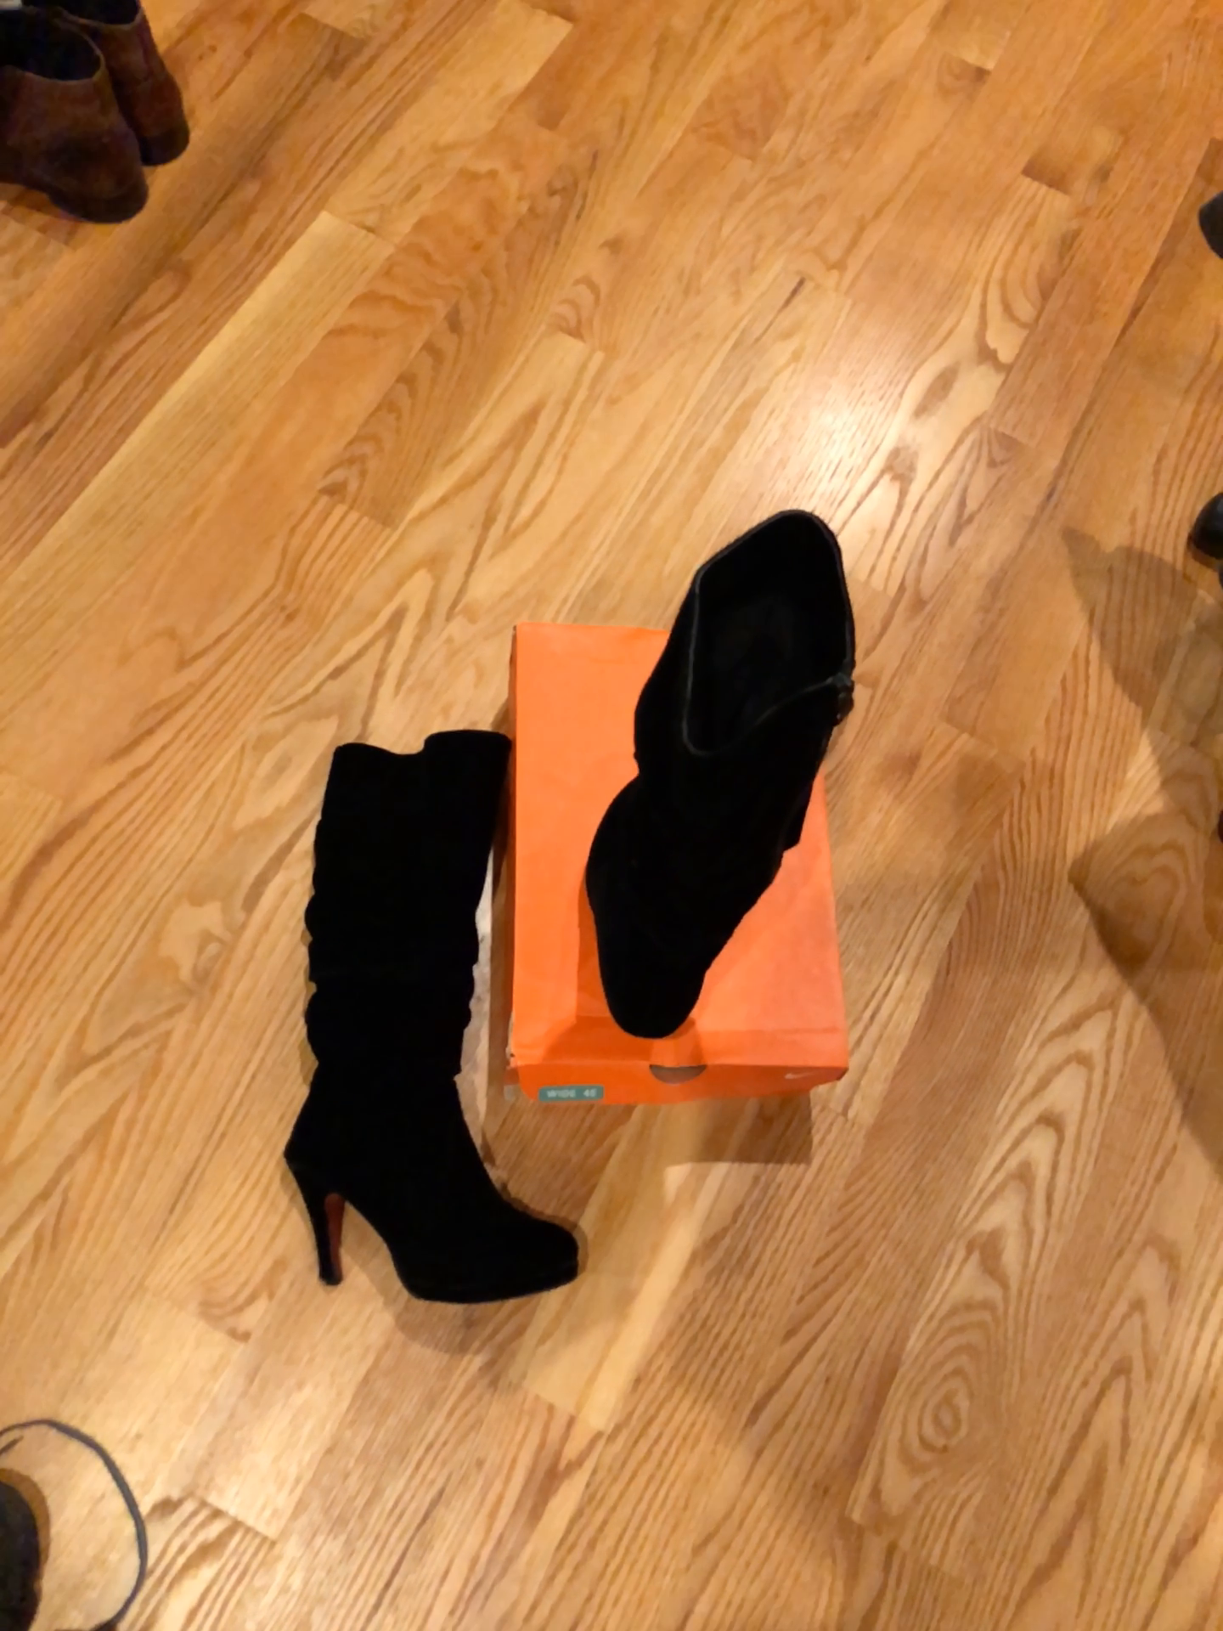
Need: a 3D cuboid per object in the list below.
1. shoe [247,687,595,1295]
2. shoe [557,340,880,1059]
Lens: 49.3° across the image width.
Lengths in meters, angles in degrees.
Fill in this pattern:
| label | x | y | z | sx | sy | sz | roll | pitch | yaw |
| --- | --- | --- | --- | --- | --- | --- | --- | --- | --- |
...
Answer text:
| label | x | y | z | sx | sy | sz | roll | pitch | yaw |
| --- | --- | --- | --- | --- | --- | --- | --- | --- | --- |
| shoe | -0.123 | 0.111 | 0.913 | 0.206 | 0.089 | 0.400 | 0 | 67 | -5 |
| shoe | 0.038 | -0.023 | 0.708 | 0.089 | 0.398 | 0.217 | 6 | 67 | -5 |
